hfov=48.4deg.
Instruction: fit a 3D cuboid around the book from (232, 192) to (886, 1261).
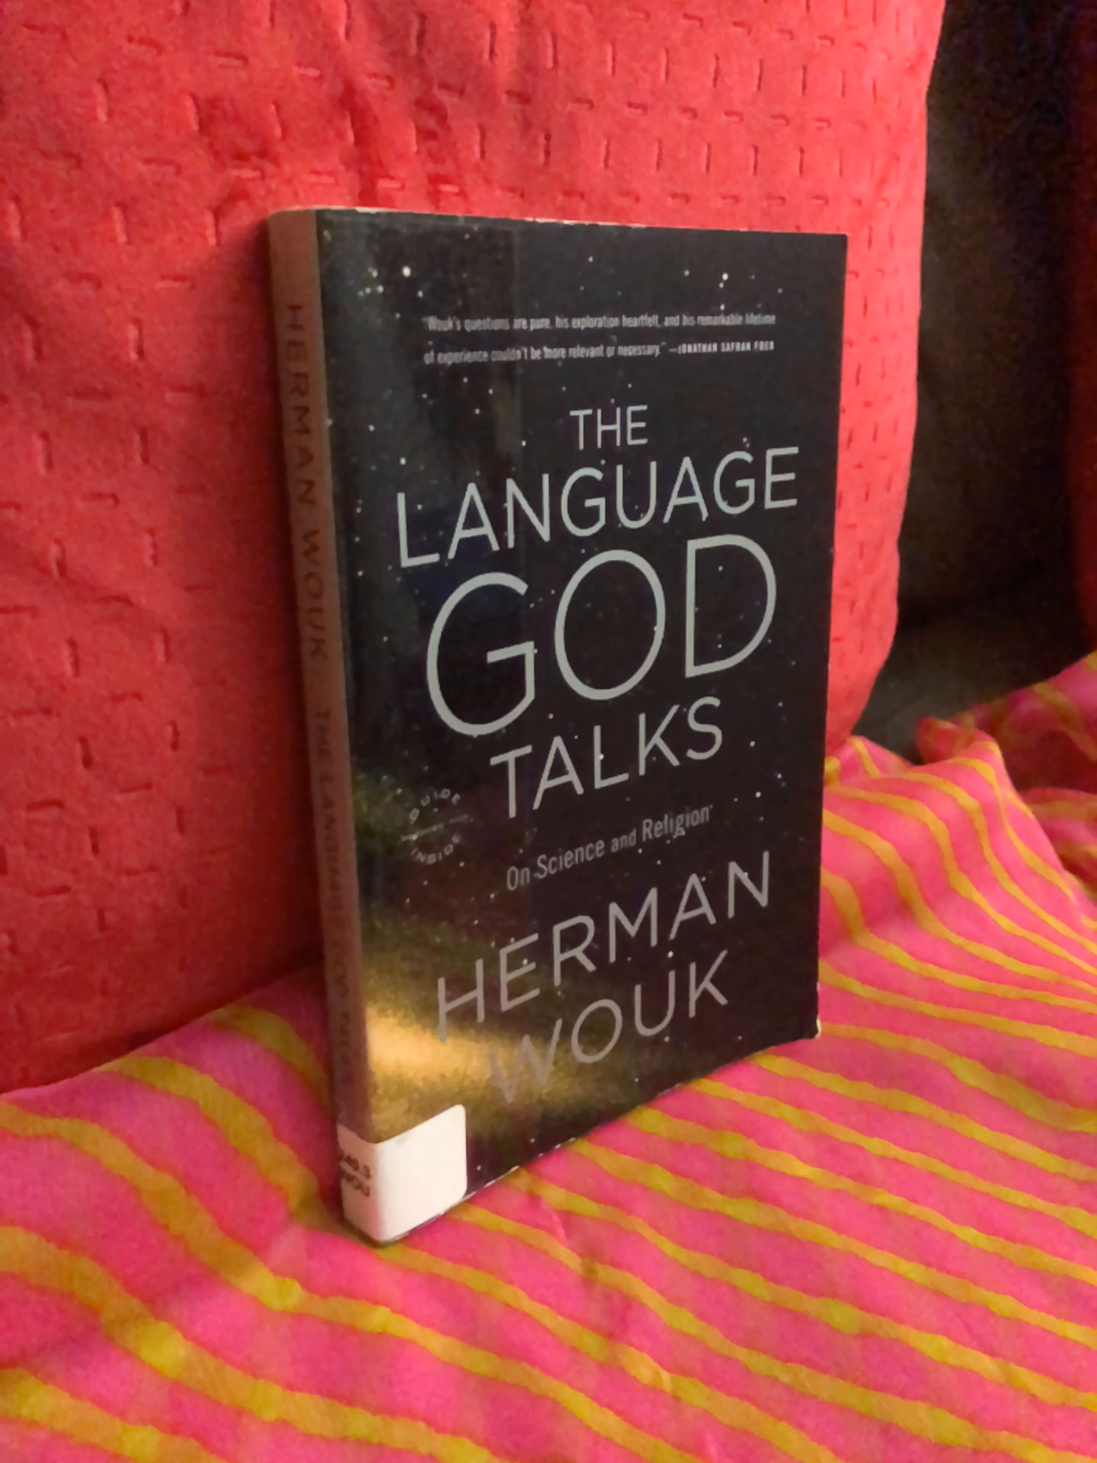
[{"bbox_3d":[0.012,-0.006,0.268,0.138,0.199,0.030,-16,23,-36],"label":"book"}]
